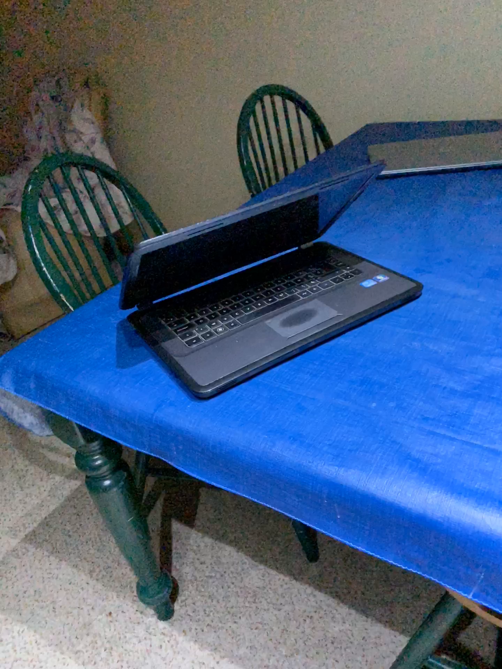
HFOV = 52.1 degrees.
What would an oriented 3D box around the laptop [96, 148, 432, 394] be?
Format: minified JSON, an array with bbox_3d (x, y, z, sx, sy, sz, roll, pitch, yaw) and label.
[{"bbox_3d":[0.020,-0.116,0.696,0.362,0.160,0.245,-24,34,-23],"label":"laptop"}]
